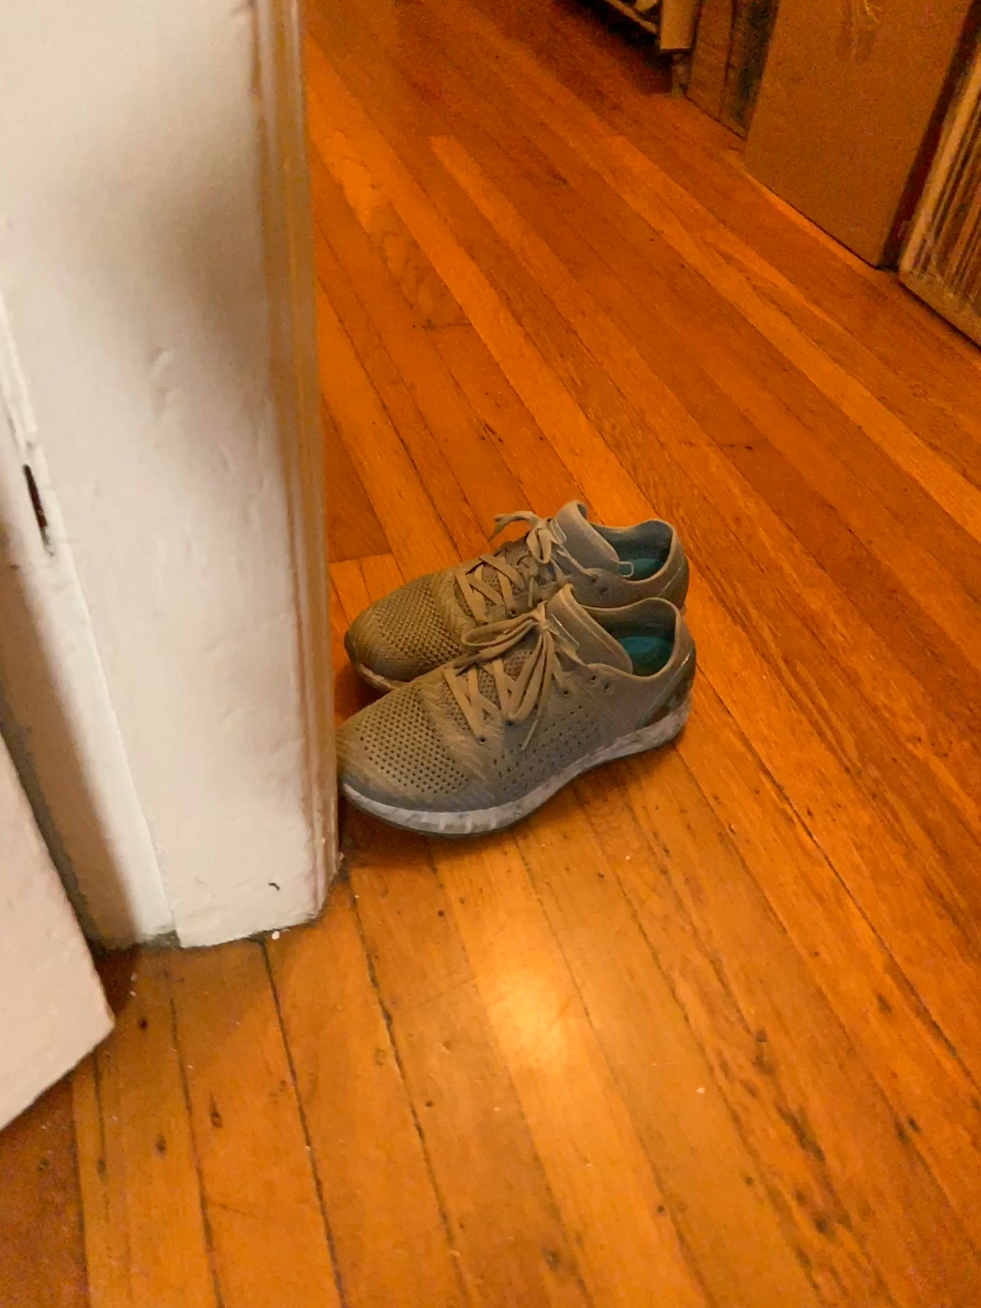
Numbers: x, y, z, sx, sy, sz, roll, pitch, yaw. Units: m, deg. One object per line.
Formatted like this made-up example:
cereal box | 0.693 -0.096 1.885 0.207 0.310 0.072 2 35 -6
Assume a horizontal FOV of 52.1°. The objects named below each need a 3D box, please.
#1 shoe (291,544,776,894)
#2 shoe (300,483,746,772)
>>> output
shoe | 0.025 0.030 0.604 0.260 0.080 0.110 -18 51 -23
shoe | 0.020 -0.025 0.684 0.270 0.090 0.111 -14 50 -20
